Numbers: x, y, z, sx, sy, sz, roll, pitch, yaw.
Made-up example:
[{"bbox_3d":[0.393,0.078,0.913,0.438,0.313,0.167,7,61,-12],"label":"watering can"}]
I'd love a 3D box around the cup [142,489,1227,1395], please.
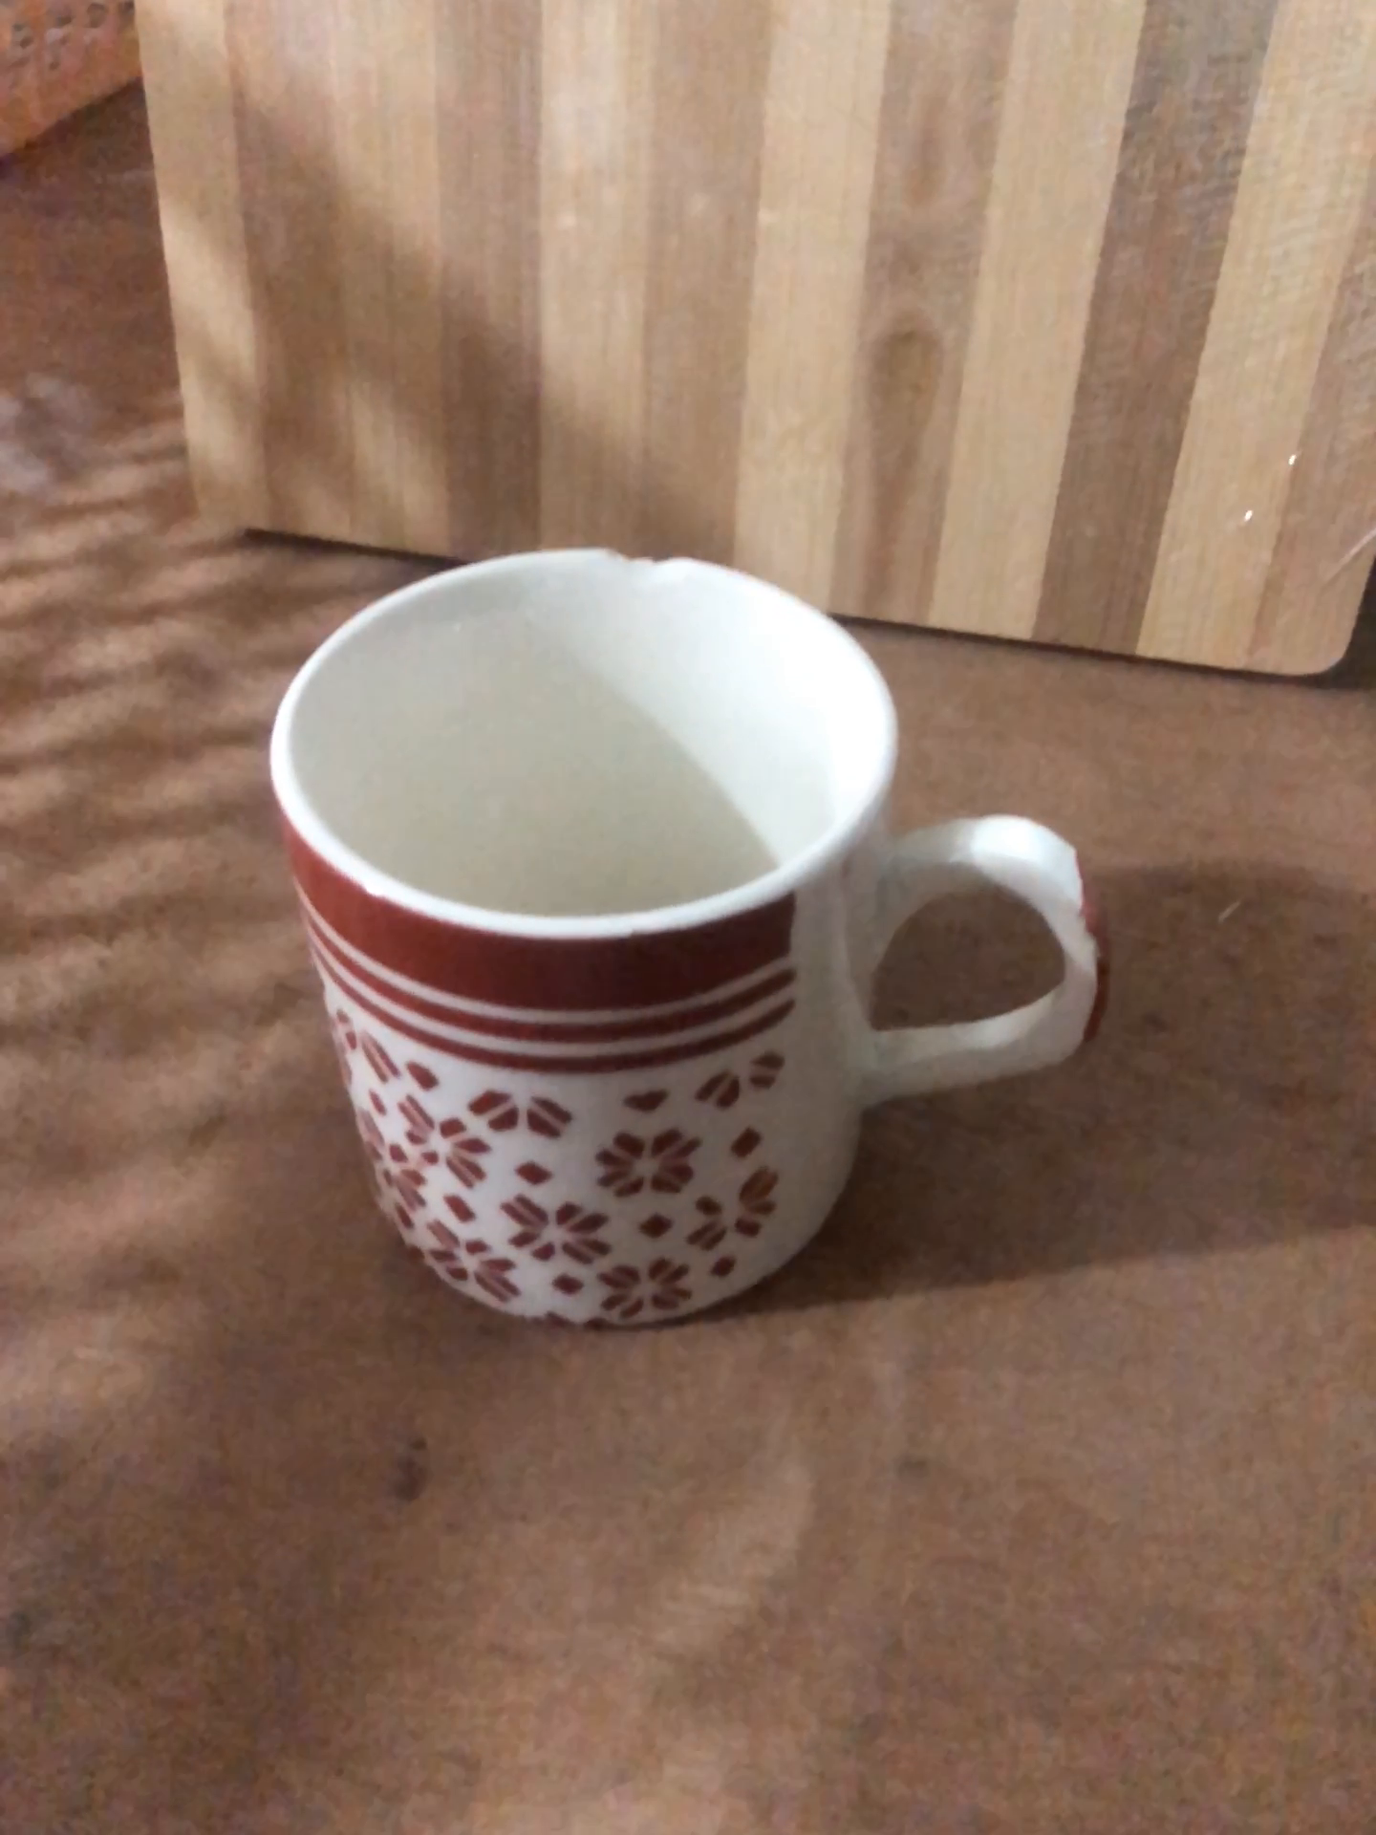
[{"bbox_3d":[0.003,0.002,0.176,0.090,0.070,0.070,3,45,5],"label":"cup"}]
